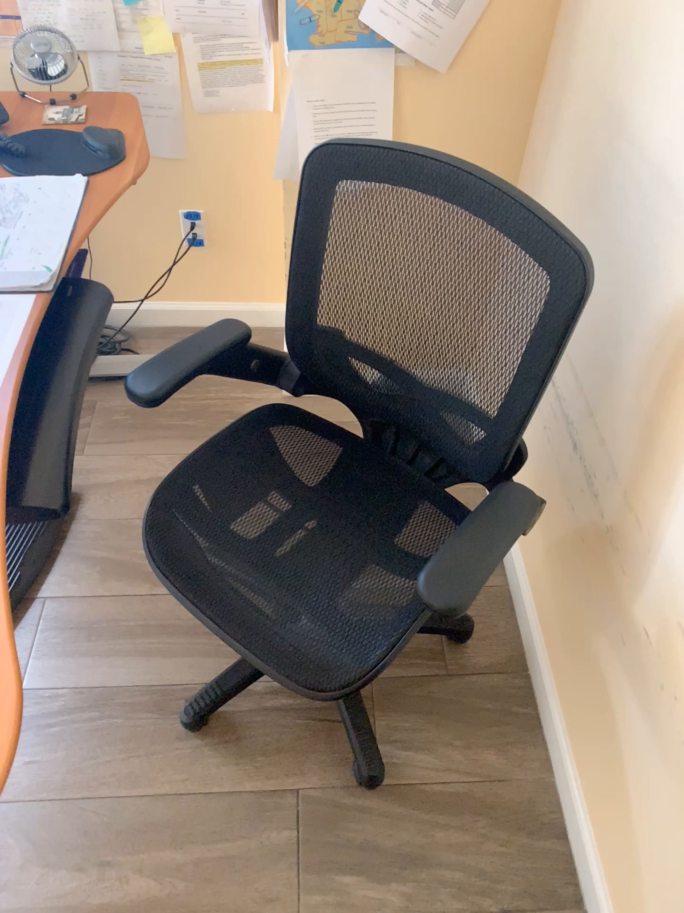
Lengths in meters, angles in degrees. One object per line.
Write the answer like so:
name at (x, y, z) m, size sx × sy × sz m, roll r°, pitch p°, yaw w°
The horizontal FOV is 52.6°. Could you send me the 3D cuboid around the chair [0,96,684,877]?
chair at (0.010, 0.059, 1.179) m, size 0.640 × 0.869 × 0.775 m, roll 32°, pitch 55°, yaw 21°
